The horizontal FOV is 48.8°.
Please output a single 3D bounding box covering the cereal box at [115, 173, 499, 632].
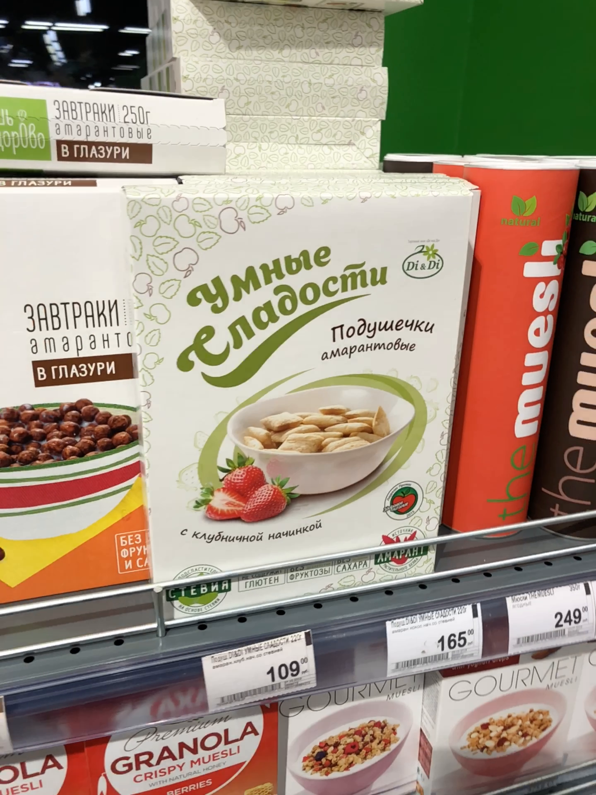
[{"bbox_3d":[0.005,0.002,0.398,0.200,0.259,0.050,-5,21,-15],"label":"cereal box"}]
